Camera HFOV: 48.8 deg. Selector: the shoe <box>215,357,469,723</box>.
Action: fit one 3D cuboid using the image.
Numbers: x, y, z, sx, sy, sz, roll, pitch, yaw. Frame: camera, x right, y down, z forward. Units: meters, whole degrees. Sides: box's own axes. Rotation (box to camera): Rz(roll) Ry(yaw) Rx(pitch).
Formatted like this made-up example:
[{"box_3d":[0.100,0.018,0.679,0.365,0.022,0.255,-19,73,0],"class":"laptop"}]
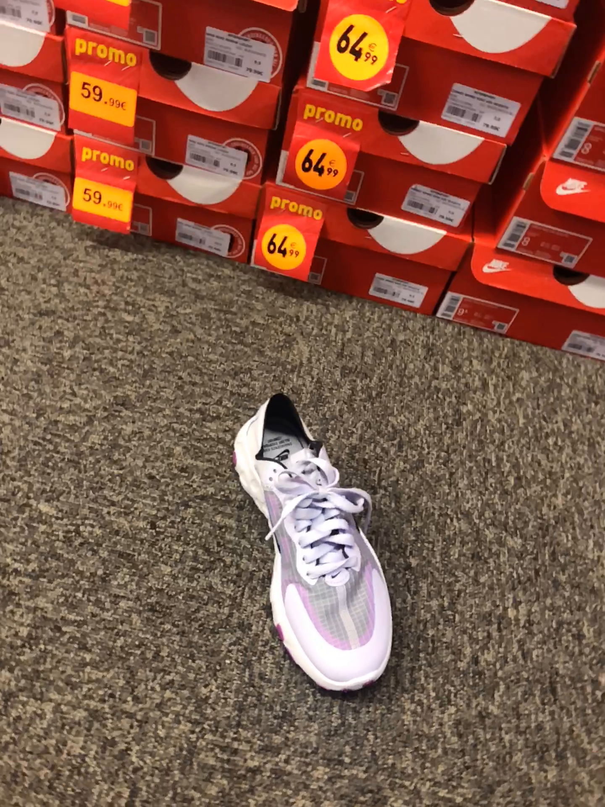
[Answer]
[{"box_3d":[0.015,0.099,0.546,0.100,0.099,0.261,-10,56,-20],"class":"shoe"}]
